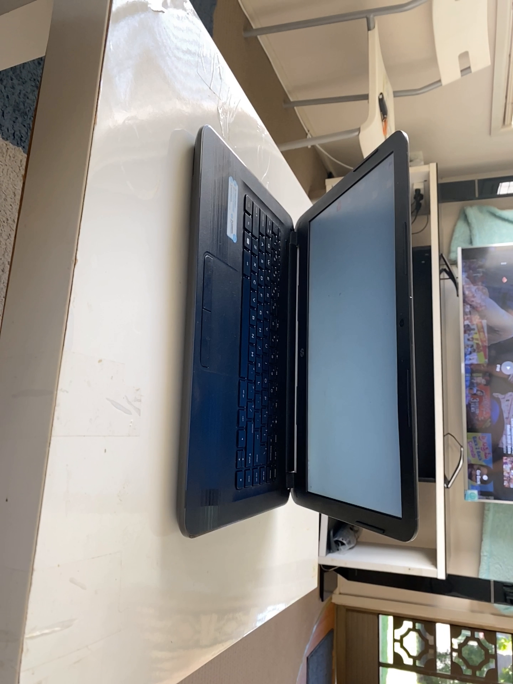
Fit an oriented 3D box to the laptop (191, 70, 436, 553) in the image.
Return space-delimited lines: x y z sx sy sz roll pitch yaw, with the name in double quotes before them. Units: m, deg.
"laptop" 0.069 -0.016 0.488 0.226 0.154 0.335 22 67 -66
